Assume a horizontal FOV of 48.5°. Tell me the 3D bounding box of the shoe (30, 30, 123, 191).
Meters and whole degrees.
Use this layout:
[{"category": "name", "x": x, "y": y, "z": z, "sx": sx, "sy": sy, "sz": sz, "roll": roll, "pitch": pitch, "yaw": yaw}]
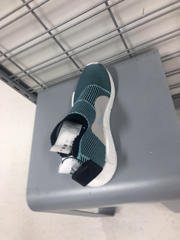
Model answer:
[{"category": "shoe", "x": -0.017, "y": -0.017, "z": 0.428, "sx": 0.120, "sy": 0.130, "sz": 0.300, "roll": -12, "pitch": 60, "yaw": 23}]
